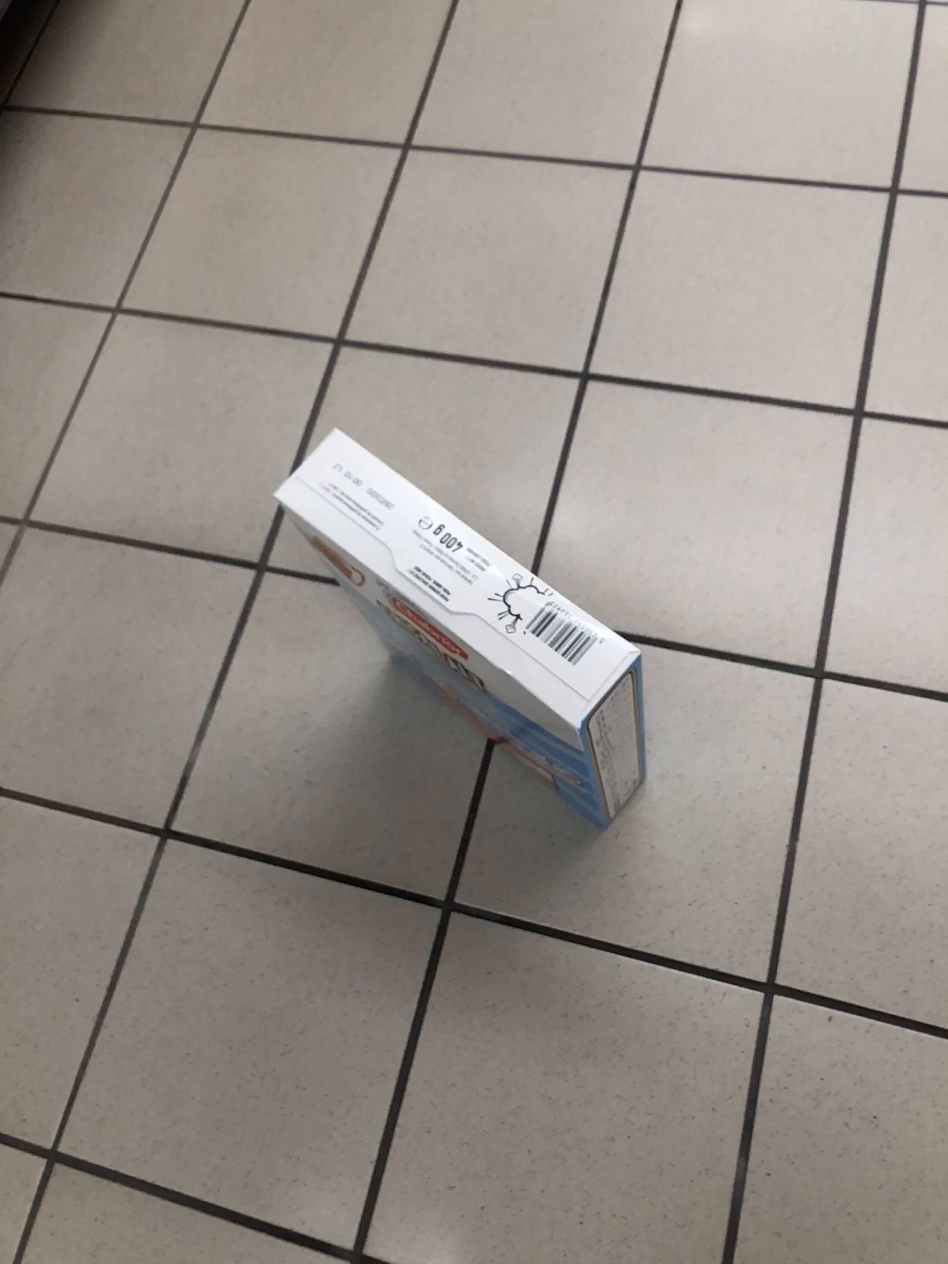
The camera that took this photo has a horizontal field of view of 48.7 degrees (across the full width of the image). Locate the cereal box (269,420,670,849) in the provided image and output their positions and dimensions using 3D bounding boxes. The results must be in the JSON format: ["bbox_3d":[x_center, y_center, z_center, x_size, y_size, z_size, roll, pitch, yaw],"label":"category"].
[{"bbox_3d":[0.010,0.017,0.589,0.200,0.249,0.050,38,79,20],"label":"cereal box"}]
